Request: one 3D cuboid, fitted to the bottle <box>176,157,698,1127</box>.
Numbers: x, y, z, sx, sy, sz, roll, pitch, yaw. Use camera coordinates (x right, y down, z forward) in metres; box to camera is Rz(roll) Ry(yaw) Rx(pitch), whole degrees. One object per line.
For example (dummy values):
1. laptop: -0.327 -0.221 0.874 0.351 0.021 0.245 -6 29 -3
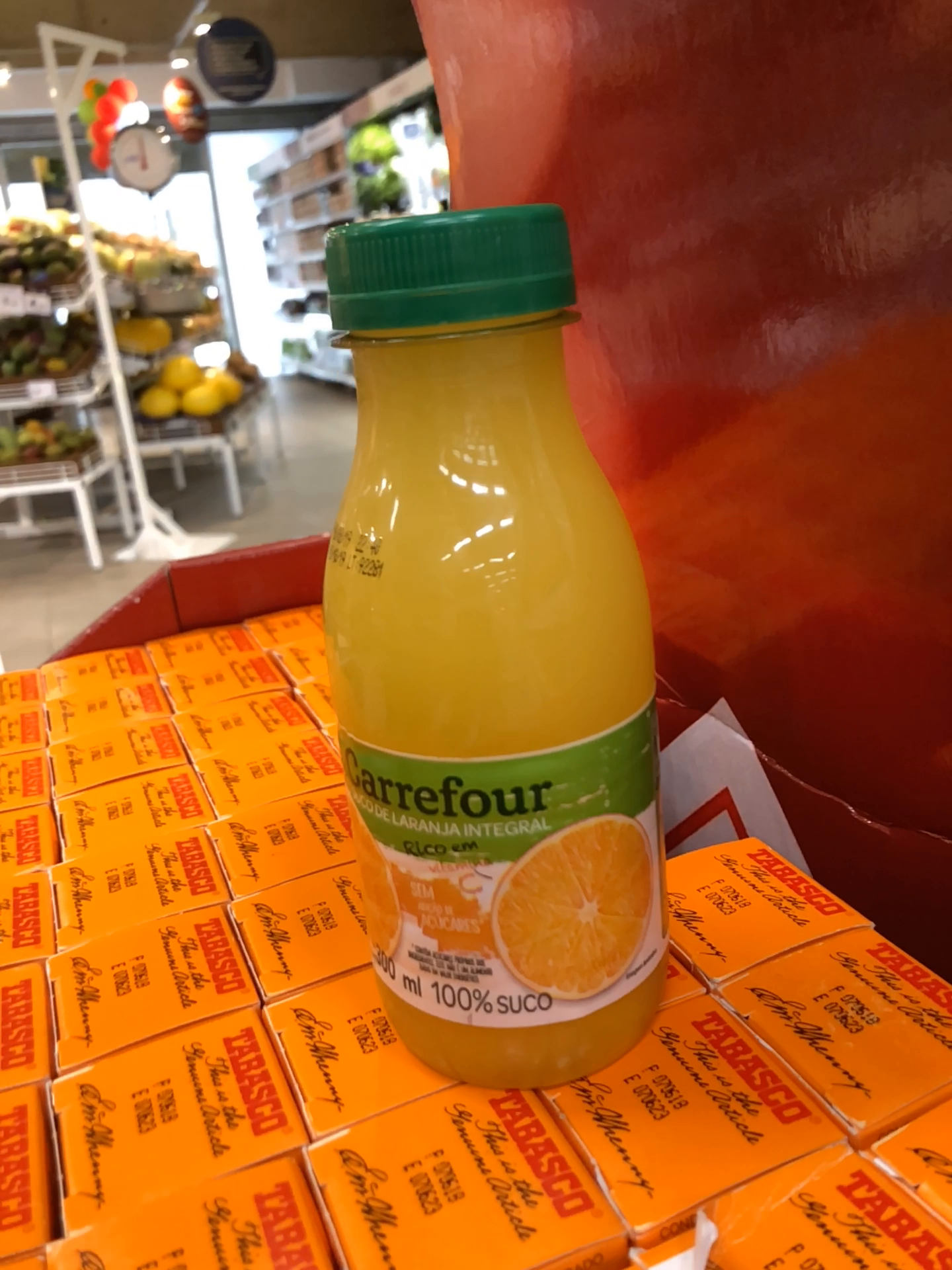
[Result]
1. bottle: 0.000 0.001 0.188 0.060 0.149 0.050 5 22 29
